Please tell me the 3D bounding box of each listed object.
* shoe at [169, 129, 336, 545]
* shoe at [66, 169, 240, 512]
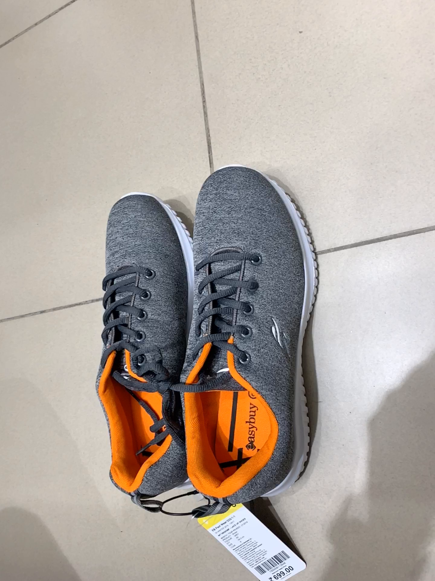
[{"bbox_3d":[0.030,0.034,0.386,0.100,0.090,0.300,-7,81,27],"label":"shoe"},{"bbox_3d":[-0.063,0.046,0.424,0.100,0.090,0.280,-13,78,26],"label":"shoe"}]
